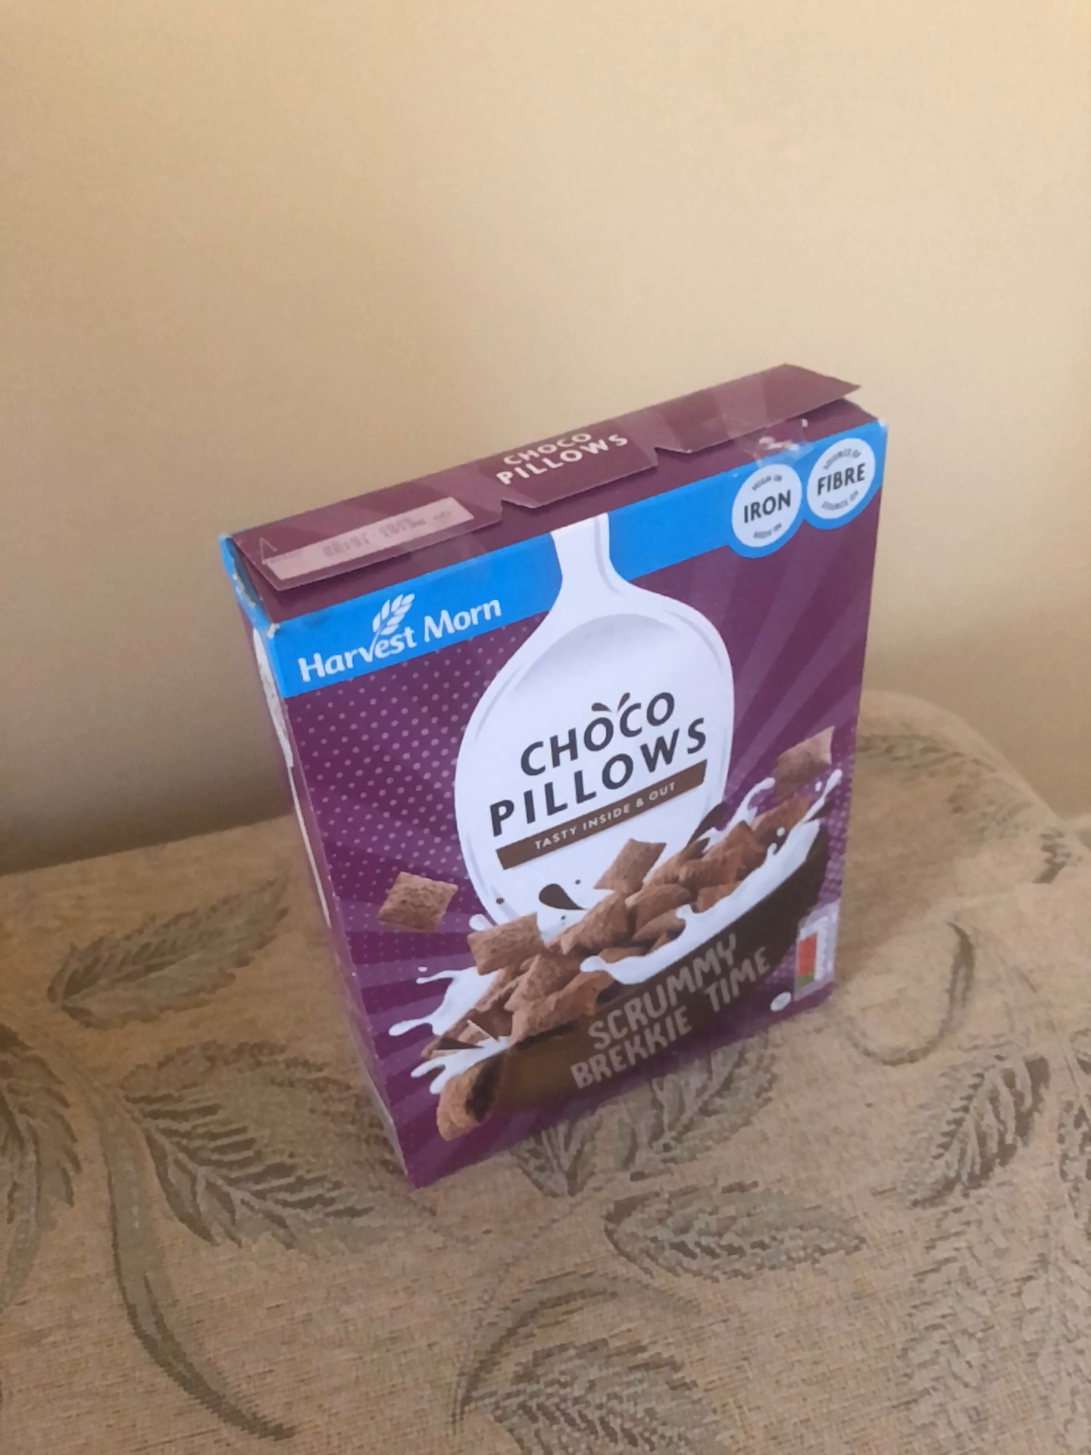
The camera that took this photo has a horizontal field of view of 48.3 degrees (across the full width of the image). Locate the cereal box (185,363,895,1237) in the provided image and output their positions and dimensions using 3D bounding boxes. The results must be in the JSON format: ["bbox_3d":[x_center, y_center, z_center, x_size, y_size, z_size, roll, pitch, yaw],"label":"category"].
[{"bbox_3d":[0.009,0.037,0.436,0.200,0.278,0.060,-22,43,-21],"label":"cereal box"}]
